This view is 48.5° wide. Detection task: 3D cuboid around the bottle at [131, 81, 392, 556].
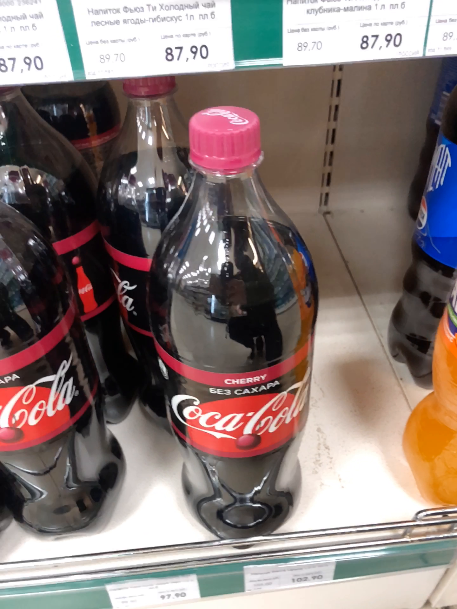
[{"bbox_3d":[0.011,0.036,0.306,0.092,0.295,0.088,-1,41,1],"label":"bottle"}]
